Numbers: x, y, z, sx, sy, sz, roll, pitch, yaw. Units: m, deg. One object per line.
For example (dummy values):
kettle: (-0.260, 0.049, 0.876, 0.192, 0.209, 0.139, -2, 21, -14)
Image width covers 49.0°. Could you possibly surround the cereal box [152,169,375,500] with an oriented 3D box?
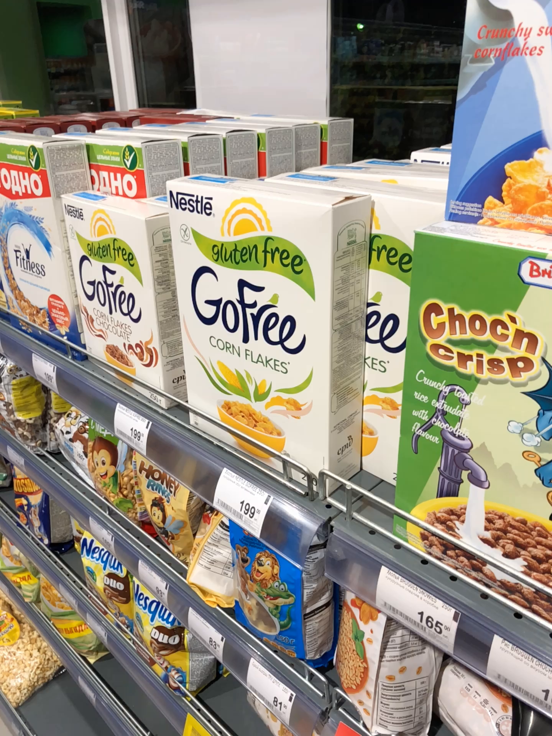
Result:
cereal box: (-0.014, -0.037, 0.539, 0.190, 0.249, 0.060, 20, 33, 38)
